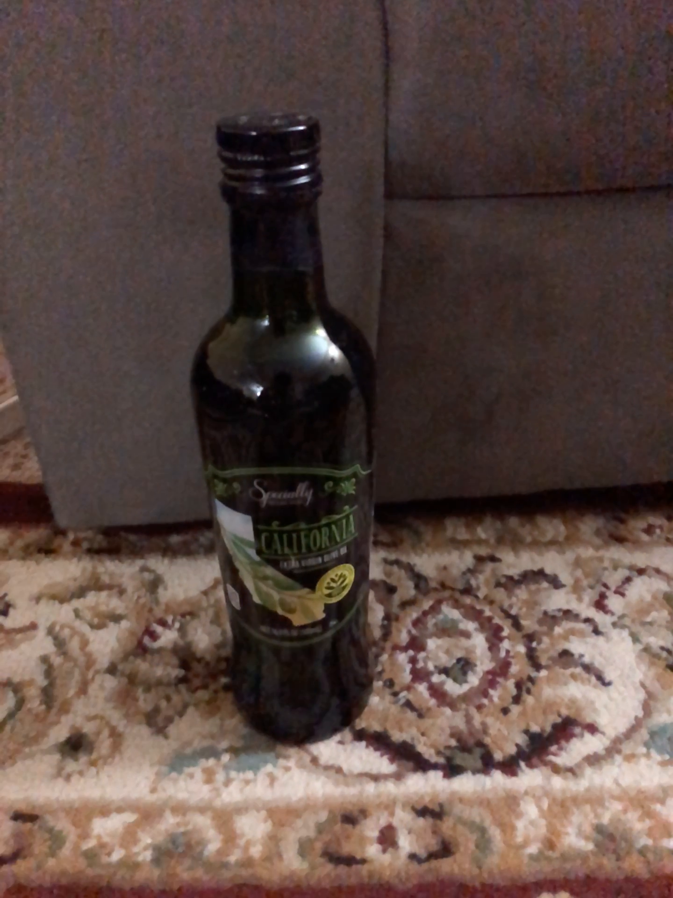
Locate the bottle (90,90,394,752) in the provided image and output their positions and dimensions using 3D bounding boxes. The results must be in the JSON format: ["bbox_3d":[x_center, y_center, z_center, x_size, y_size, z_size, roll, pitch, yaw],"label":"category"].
[{"bbox_3d":[-0.023,0.004,0.302,0.080,0.259,0.070,-4,30,-1],"label":"bottle"}]
